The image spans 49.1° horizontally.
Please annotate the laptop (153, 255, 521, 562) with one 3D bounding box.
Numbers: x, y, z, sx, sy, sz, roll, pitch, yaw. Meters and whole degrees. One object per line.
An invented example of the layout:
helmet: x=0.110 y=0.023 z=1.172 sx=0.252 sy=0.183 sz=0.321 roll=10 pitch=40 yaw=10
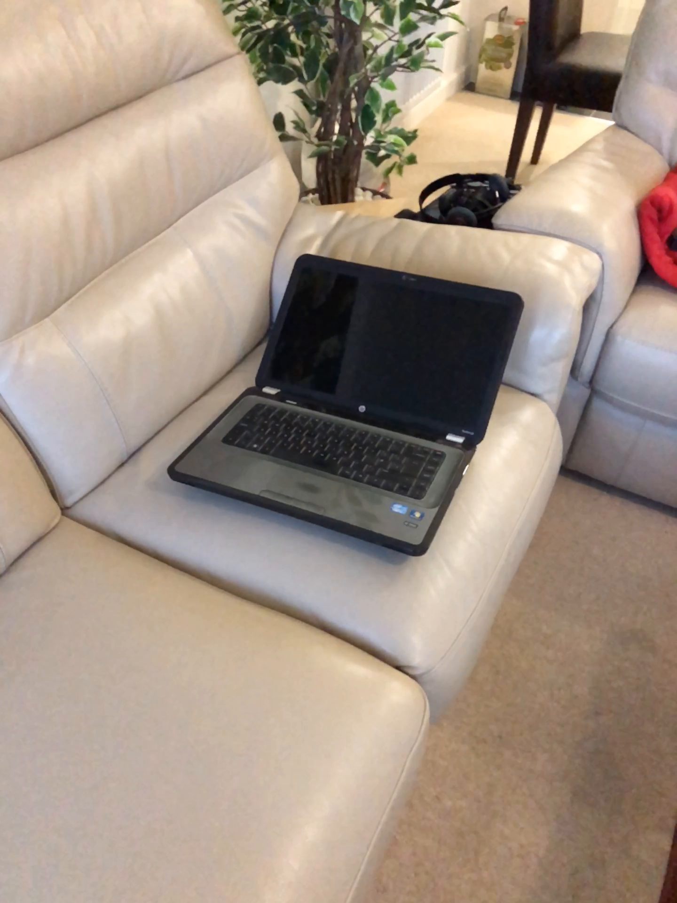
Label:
laptop: x=0.019 y=-0.093 z=1.036 sx=0.358 sy=0.114 sz=0.426 roll=17 pitch=45 yaw=16
